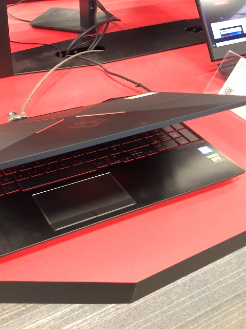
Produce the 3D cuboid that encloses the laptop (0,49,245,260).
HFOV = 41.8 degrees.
[{"bbox_3d":[-0.043,-0.038,0.450,0.394,0.107,0.208,-18,52,-19],"label":"laptop"}]
